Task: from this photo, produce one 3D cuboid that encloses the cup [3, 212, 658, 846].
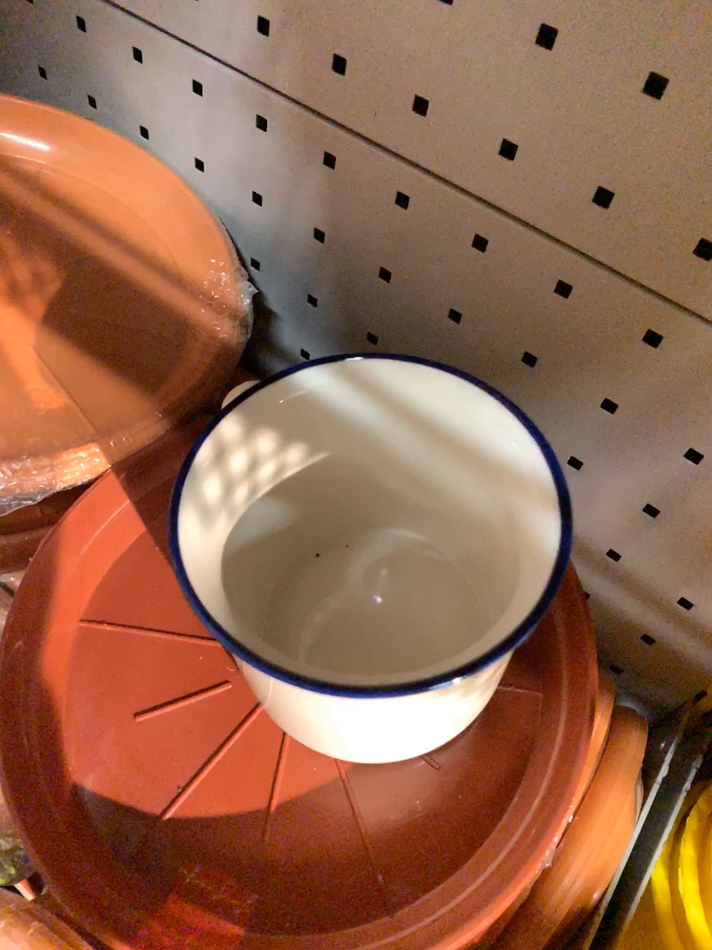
[{"bbox_3d":[-0.009,0.016,0.202,0.090,0.090,0.120,-37,66,-18],"label":"cup"}]
